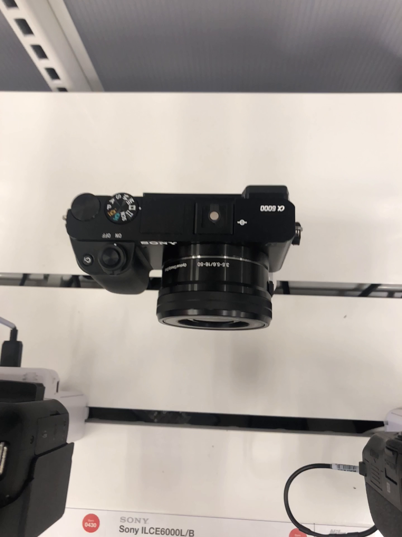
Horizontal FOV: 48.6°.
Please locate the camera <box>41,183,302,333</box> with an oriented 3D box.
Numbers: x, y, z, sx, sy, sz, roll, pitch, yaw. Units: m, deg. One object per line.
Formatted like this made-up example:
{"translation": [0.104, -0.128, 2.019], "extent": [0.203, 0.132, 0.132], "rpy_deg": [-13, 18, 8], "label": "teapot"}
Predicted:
{"translation": [-0.012, -0.002, 0.239], "extent": [0.120, 0.058, 0.067], "rpy_deg": [0, 78, 3], "label": "camera"}
